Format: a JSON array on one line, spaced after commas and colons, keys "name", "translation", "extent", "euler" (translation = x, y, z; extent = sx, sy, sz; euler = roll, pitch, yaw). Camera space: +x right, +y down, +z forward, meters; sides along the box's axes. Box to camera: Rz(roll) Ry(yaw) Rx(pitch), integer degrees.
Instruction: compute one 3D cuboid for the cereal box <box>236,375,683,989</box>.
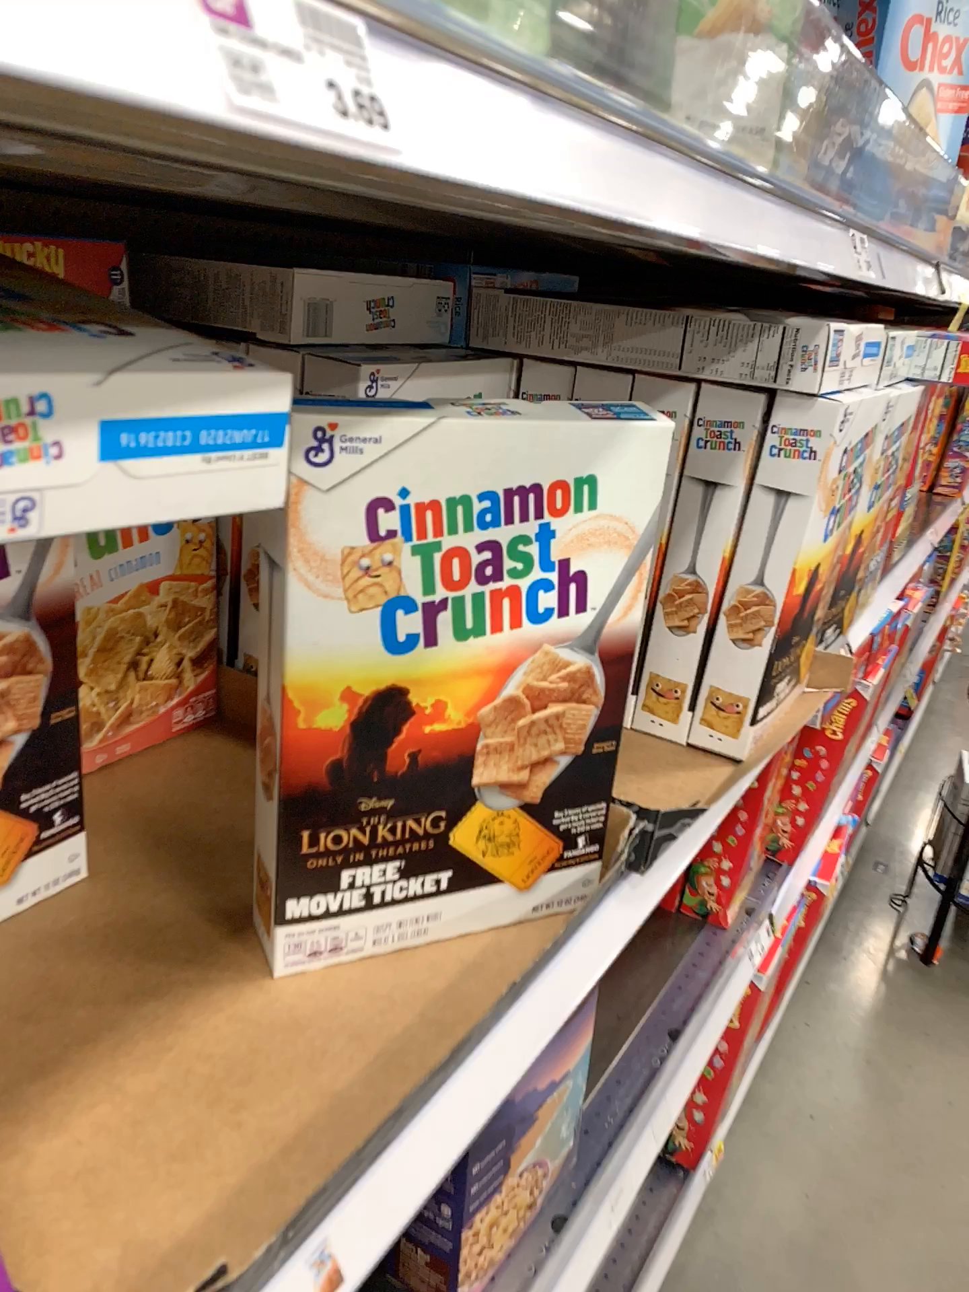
[{"name": "cereal box", "translation": [-0.020, 0.017, 0.490], "extent": [0.190, 0.279, 0.060], "euler": [-5, 24, -27]}]
